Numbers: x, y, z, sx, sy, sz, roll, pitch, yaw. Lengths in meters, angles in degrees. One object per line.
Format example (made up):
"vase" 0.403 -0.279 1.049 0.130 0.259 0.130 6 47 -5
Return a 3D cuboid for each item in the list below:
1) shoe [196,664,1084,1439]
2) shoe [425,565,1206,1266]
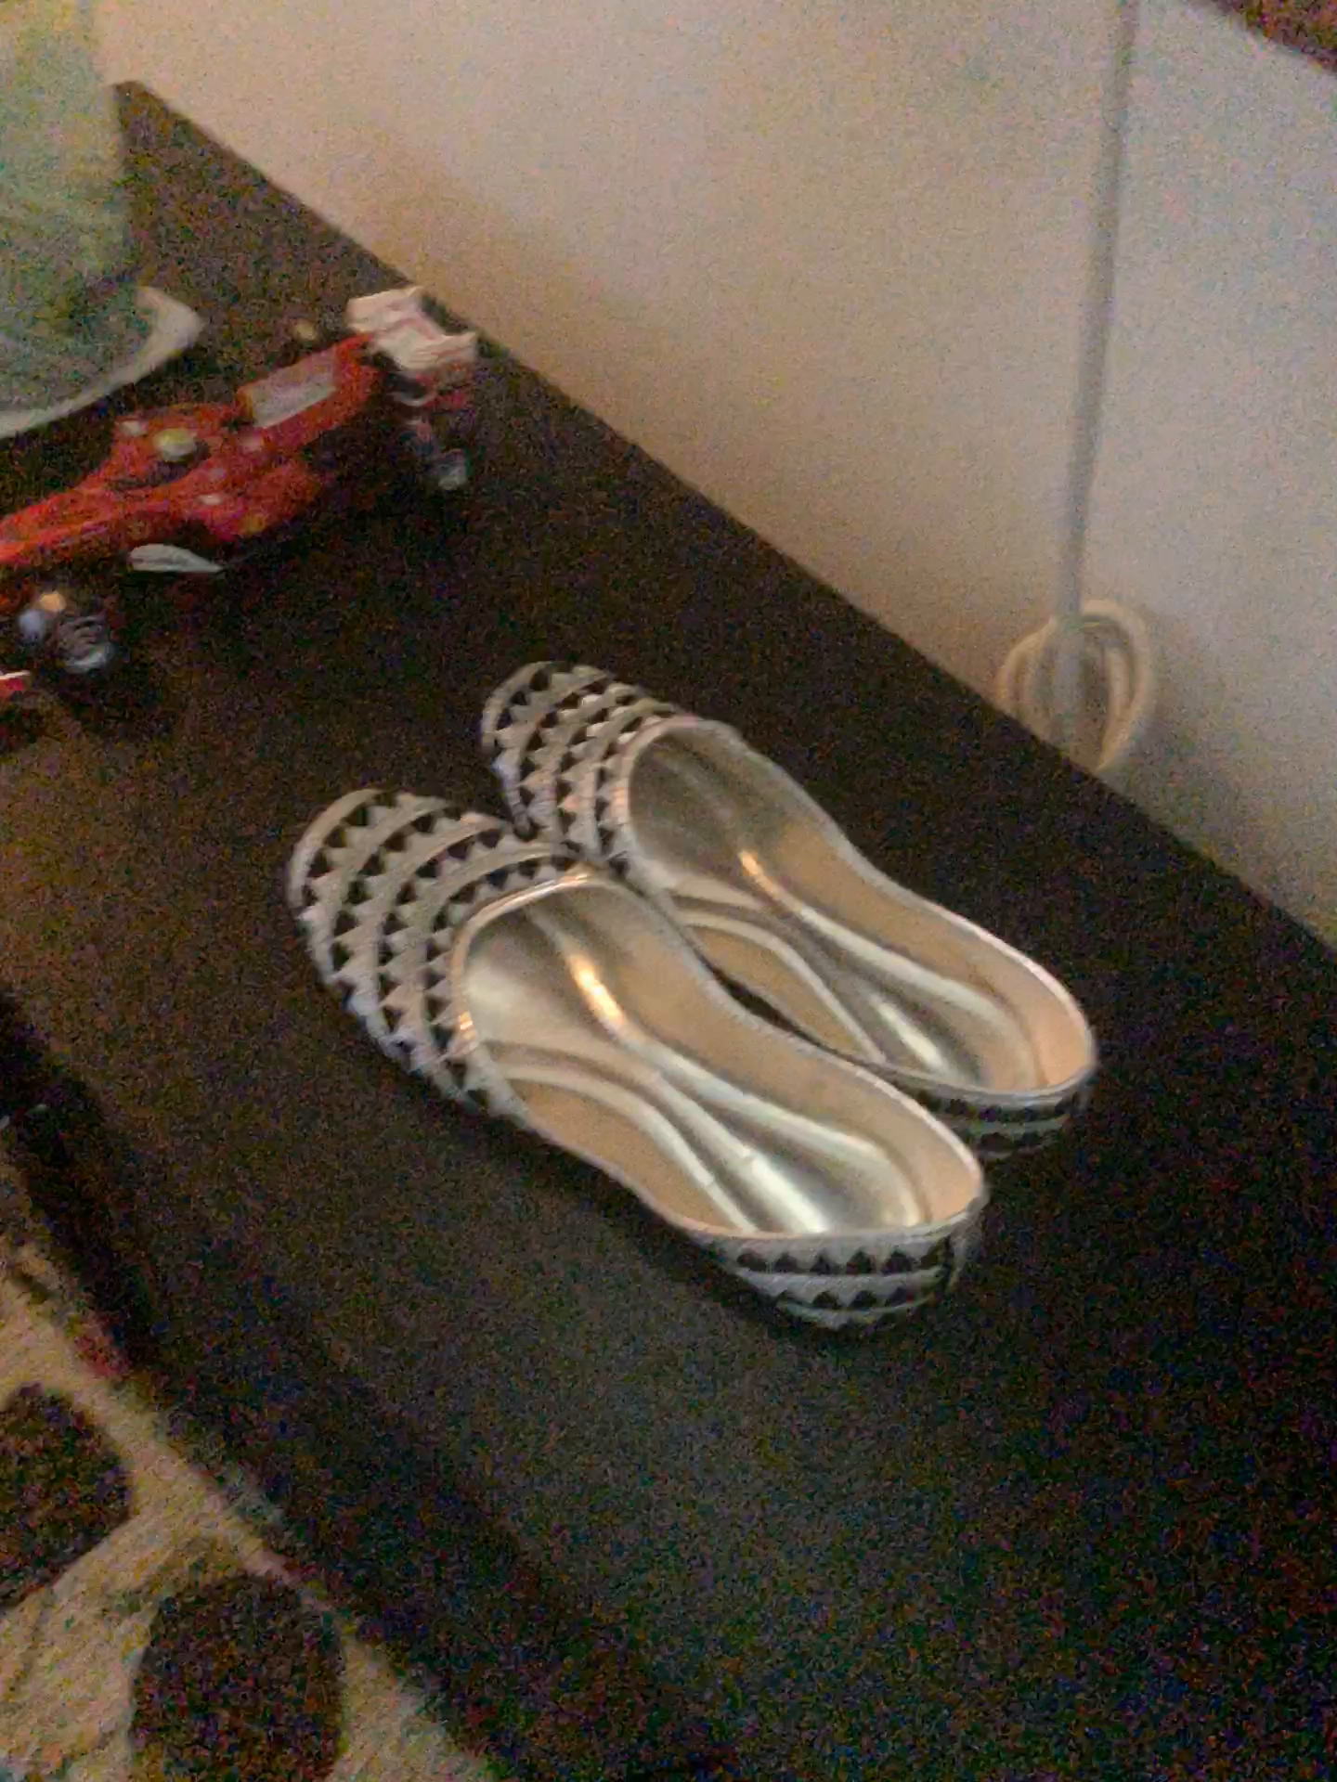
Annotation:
"shoe" -0.015 0.046 0.444 0.260 0.079 0.101 33 54 11
"shoe" 0.044 0.002 0.511 0.270 0.079 0.101 37 55 14
